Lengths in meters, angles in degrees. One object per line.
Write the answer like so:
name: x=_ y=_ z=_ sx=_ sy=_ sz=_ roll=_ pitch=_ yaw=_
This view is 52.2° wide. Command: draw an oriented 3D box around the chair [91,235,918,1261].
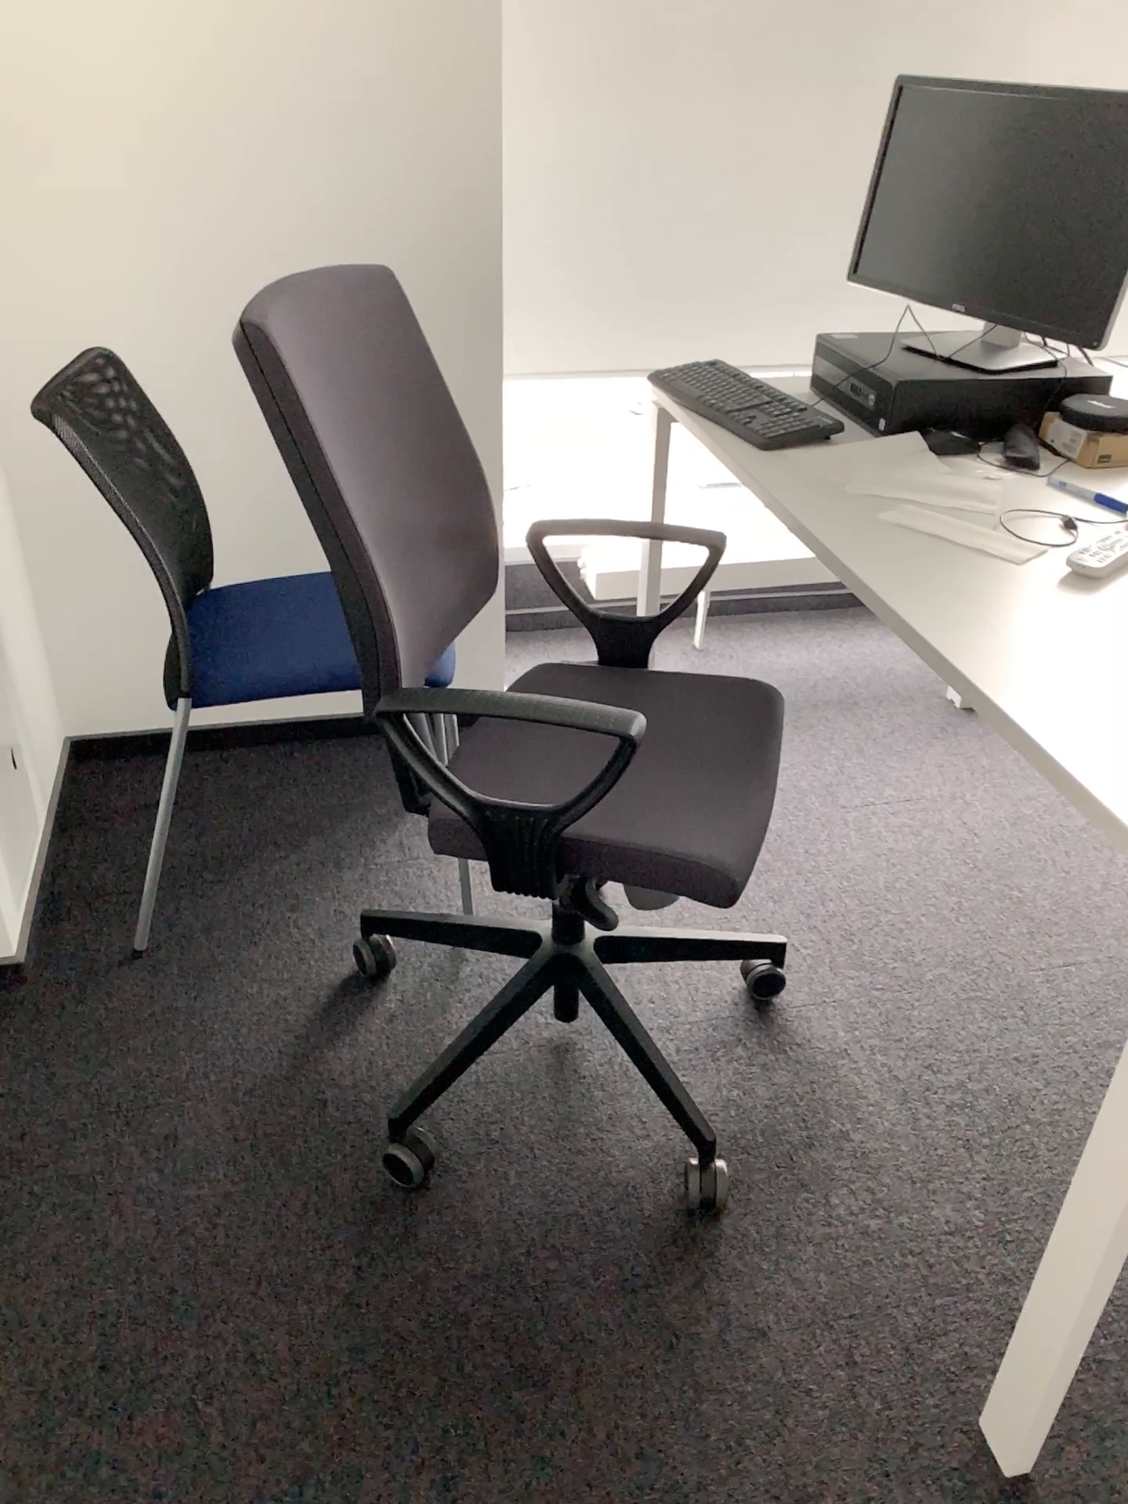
chair: x=-0.007 y=-0.045 z=1.463 sx=0.680 sy=1.004 sz=0.694 roll=8 pitch=32 yaw=10

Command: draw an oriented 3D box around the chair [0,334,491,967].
chair: x=-0.461 y=-0.202 z=1.916 sx=0.610 sy=0.805 sz=0.674 roll=-3 pitch=32 yaw=-9
